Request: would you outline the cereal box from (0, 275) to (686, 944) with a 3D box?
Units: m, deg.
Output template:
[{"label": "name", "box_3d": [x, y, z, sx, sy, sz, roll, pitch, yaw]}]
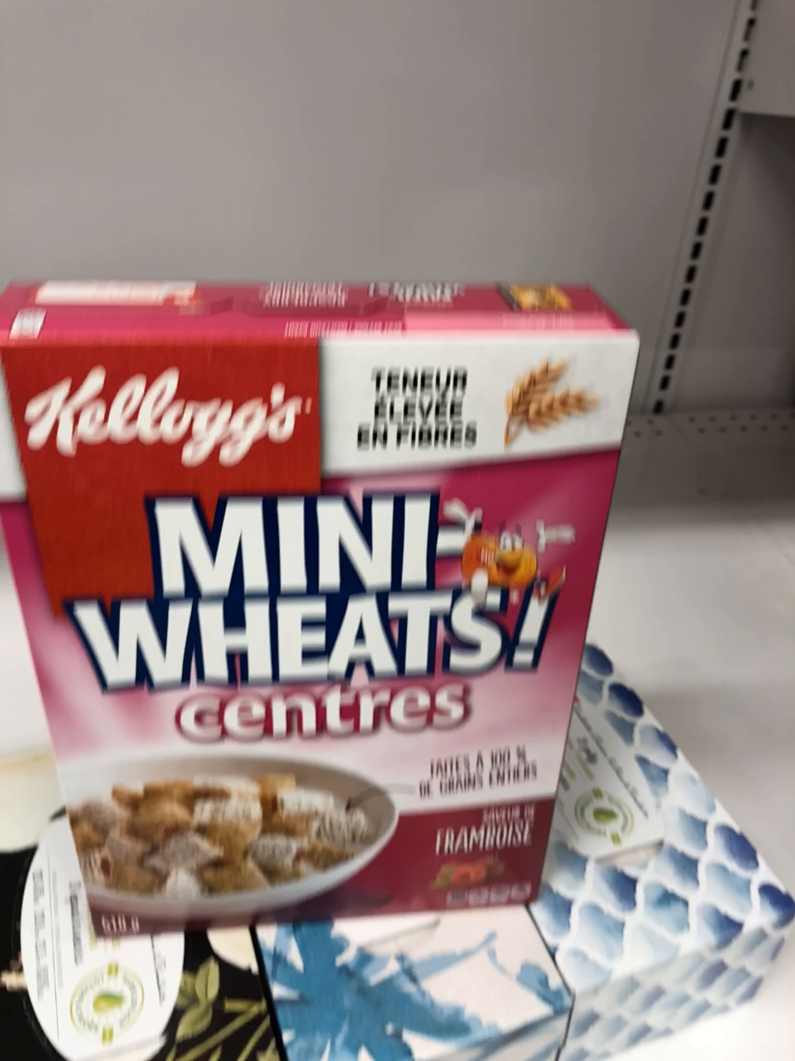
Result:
[{"label": "cereal box", "box_3d": [-0.027, 0.045, 0.343, 0.210, 0.269, 0.050, -1, 31, -7]}]
